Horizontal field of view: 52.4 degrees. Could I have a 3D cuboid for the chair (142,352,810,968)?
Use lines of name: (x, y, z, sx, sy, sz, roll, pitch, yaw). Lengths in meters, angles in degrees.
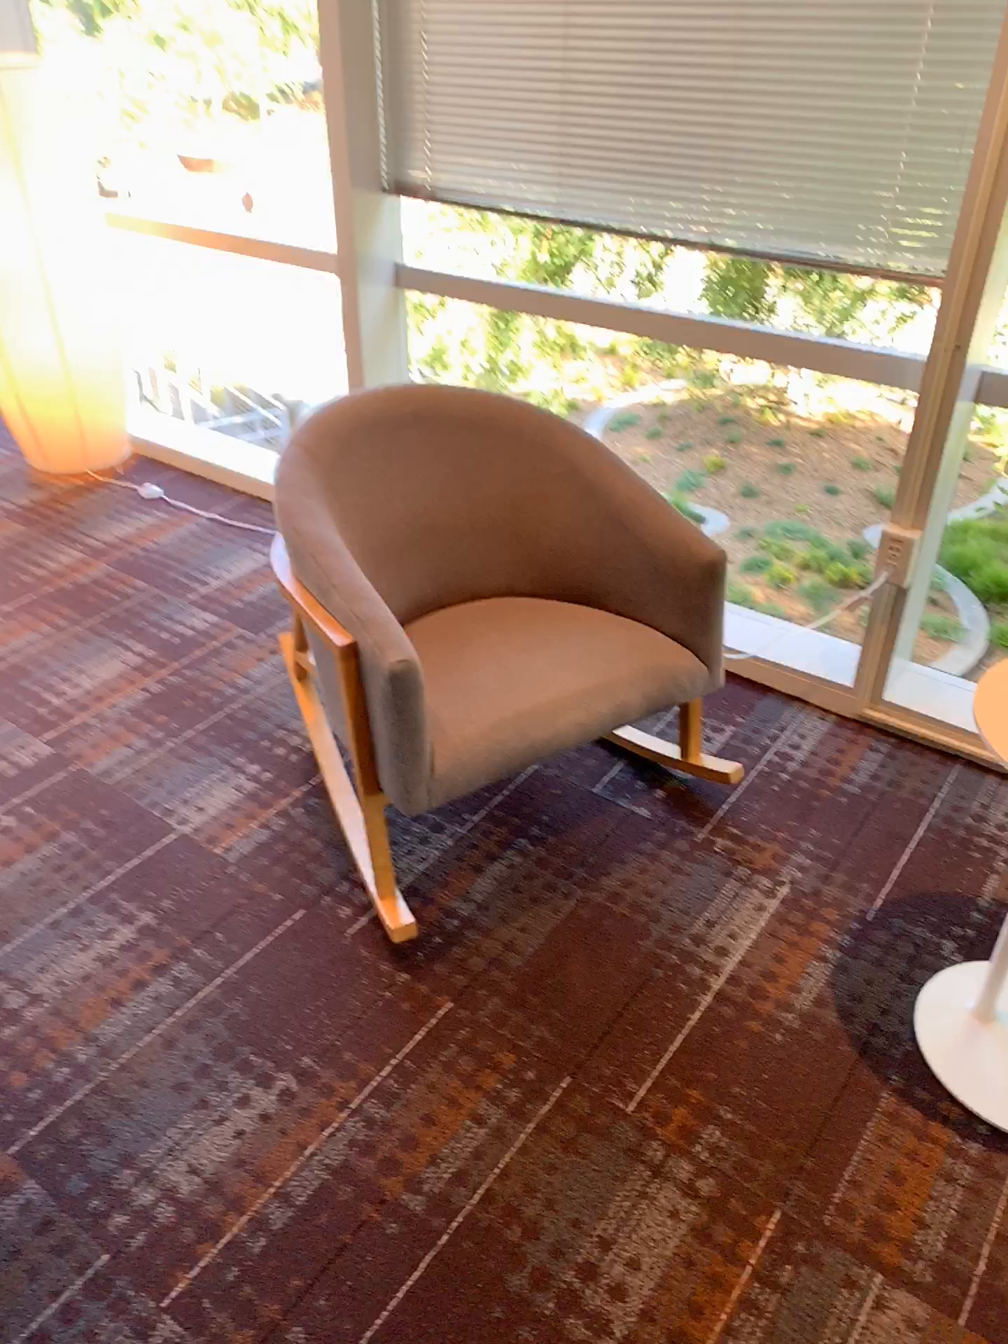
chair: (-0.089, -0.126, 2.033, 0.851, 0.656, 0.915, -20, 38, -28)
